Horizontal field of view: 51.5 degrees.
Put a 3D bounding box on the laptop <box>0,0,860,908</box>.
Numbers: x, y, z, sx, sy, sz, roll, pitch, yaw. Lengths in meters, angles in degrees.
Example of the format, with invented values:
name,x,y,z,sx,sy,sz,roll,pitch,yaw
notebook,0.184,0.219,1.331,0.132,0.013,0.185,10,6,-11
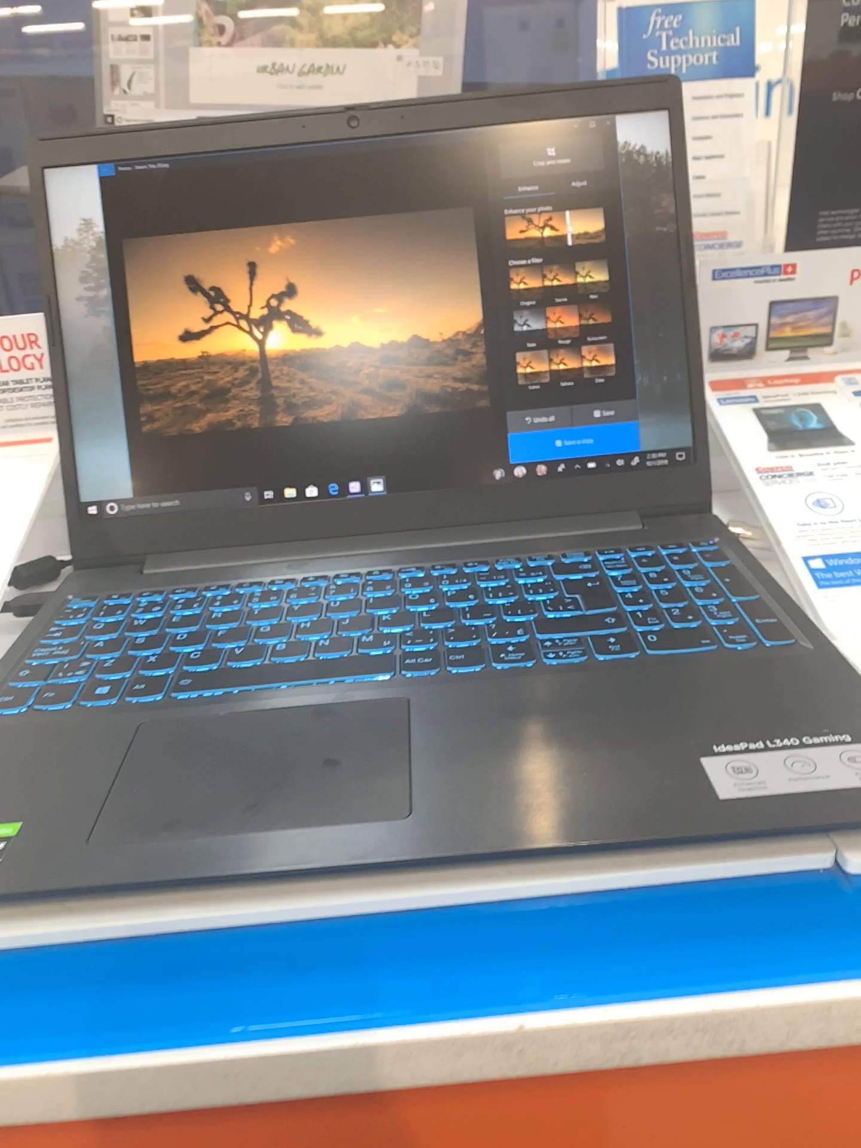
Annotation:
name,x,y,z,sx,sy,sz,roll,pitch,yaw
laptop,-0.011,-0.085,0.372,0.340,0.214,0.330,-5,25,-1
